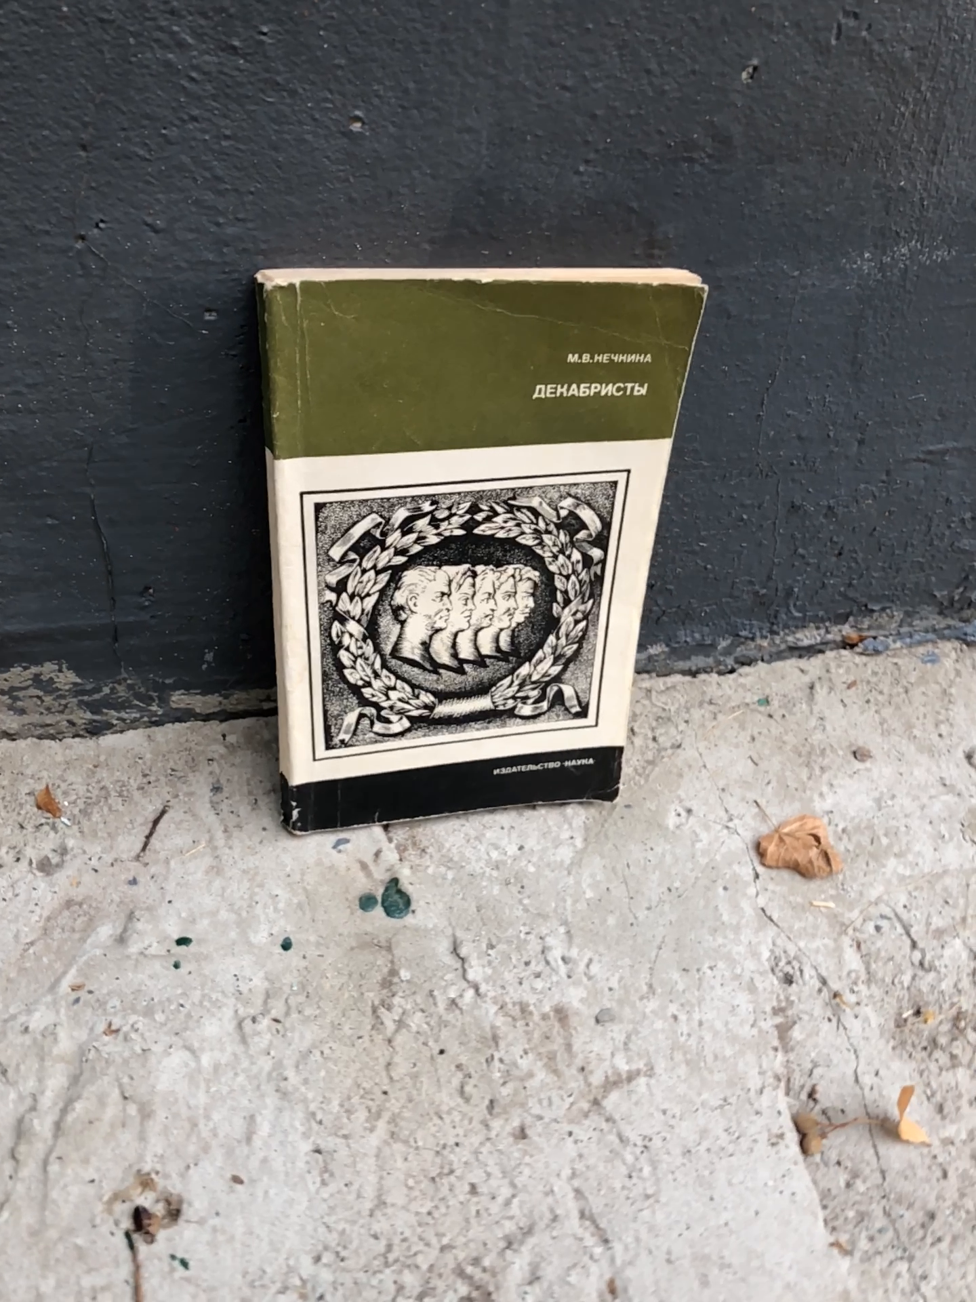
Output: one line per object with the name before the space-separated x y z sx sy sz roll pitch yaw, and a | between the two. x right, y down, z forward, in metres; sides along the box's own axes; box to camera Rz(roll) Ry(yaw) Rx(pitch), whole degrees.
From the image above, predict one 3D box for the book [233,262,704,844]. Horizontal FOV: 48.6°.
book | -0.007 -0.024 0.320 0.120 0.169 0.020 -5 30 -14
